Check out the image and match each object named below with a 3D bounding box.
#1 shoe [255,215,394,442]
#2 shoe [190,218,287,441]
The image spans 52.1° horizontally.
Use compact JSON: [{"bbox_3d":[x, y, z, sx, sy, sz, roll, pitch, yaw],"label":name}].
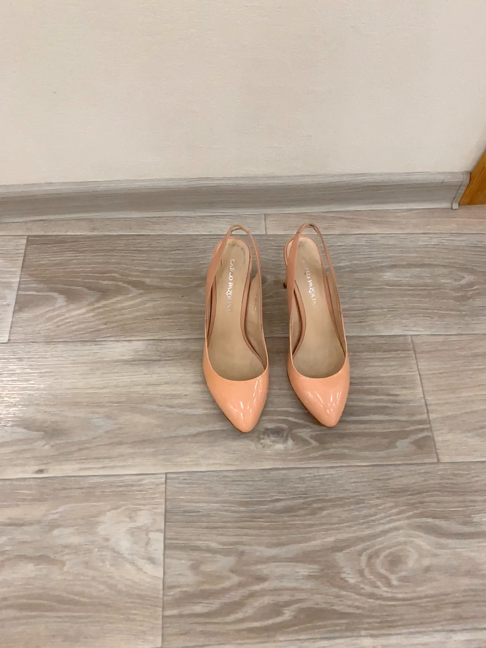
[{"bbox_3d":[0.086,0.005,0.609,0.090,0.120,0.241,-8,63,-7],"label":"shoe"},{"bbox_3d":[-0.013,0.005,0.608,0.090,0.120,0.241,-3,63,-5],"label":"shoe"}]
